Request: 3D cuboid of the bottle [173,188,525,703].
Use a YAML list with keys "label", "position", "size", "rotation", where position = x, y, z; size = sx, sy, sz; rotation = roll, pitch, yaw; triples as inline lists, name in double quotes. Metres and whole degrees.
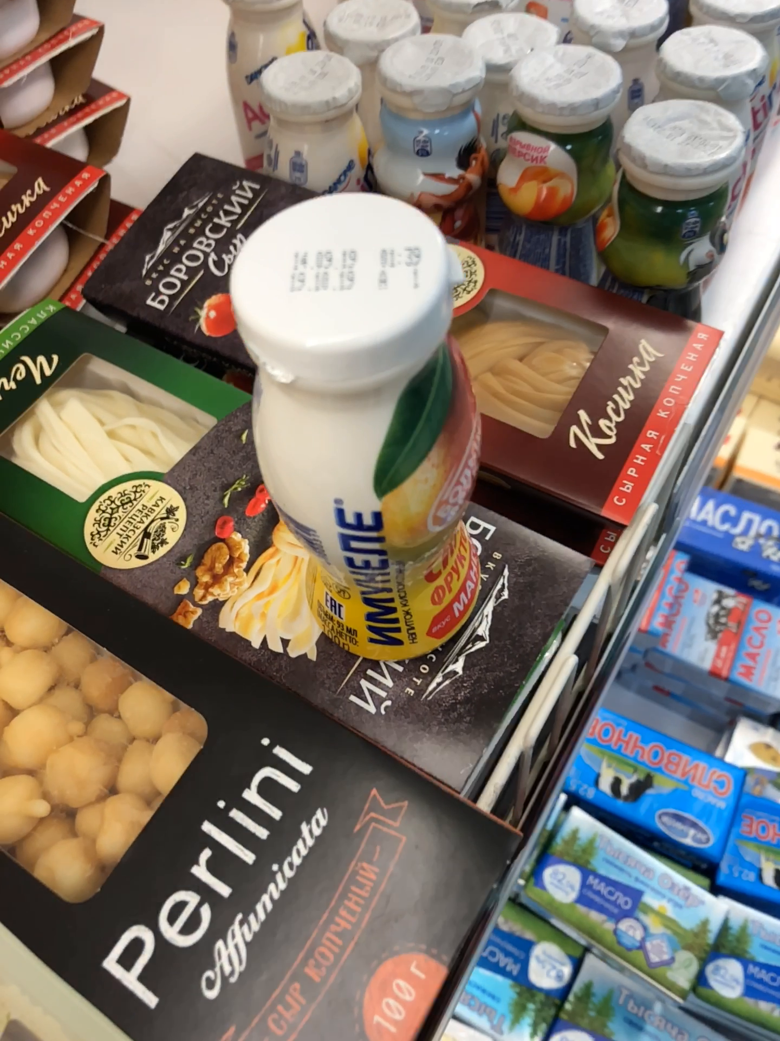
- label: "bottle"
  position: [-0.001, -0.007, 0.174]
  size: [0.044, 0.100, 0.046]
  rotation: [-2, 56, 4]
